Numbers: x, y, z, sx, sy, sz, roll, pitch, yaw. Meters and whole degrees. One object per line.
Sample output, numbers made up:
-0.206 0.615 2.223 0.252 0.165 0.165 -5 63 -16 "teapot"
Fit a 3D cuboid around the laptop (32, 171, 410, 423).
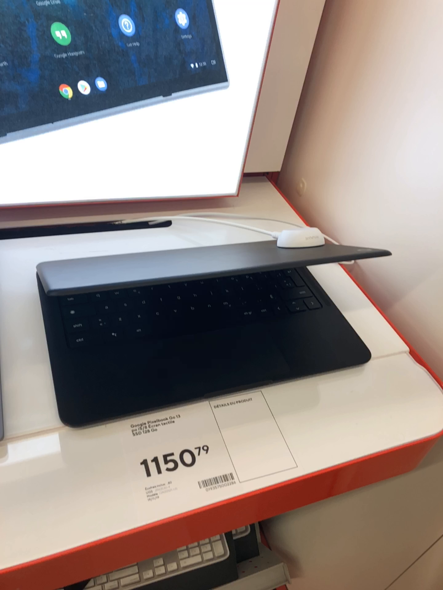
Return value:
-0.013 -0.021 0.479 0.298 0.106 0.199 -8 44 -22 "laptop"
